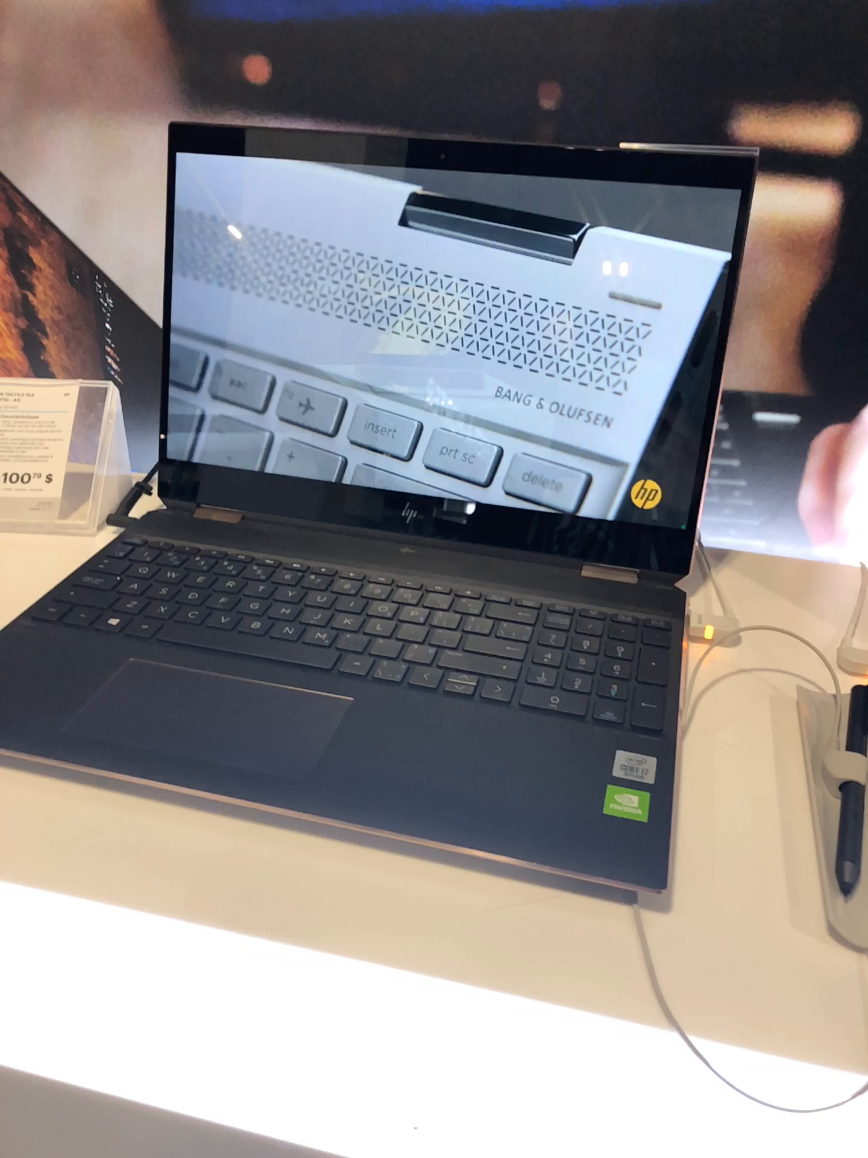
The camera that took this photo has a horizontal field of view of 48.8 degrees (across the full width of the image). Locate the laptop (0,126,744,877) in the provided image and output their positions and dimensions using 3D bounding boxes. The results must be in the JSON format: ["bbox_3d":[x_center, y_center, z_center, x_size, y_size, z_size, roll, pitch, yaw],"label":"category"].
[{"bbox_3d":[-0.043,-0.084,0.484,0.333,0.226,0.323,9,29,10],"label":"laptop"}]
